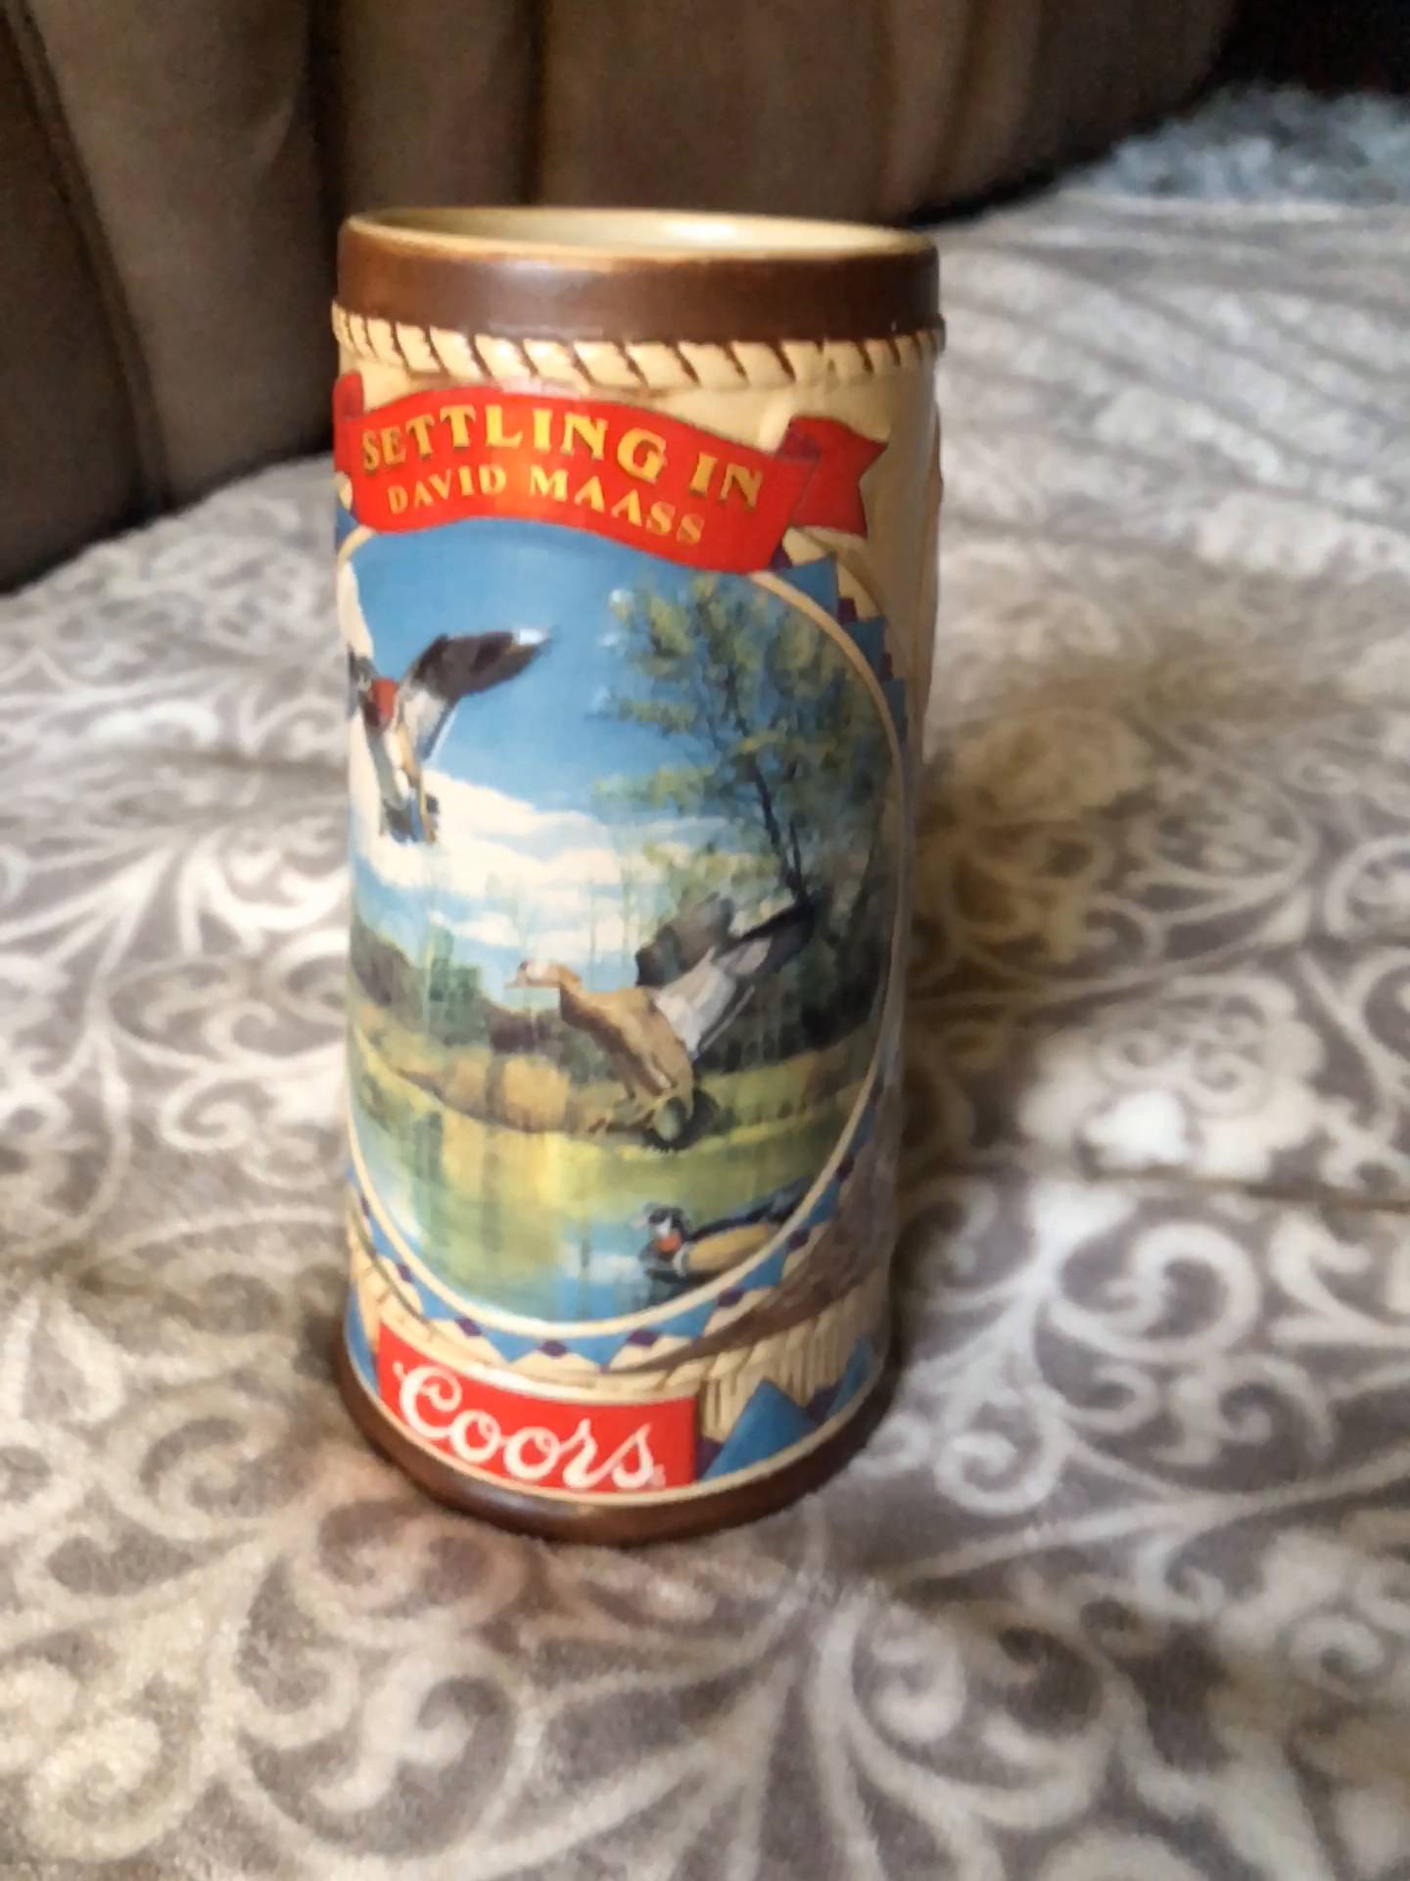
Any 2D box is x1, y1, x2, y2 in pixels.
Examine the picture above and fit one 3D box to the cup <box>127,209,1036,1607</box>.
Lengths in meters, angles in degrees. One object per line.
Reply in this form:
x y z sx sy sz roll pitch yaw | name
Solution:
-0.008 -0.019 0.273 0.098 0.188 0.145 6 25 7 | cup
